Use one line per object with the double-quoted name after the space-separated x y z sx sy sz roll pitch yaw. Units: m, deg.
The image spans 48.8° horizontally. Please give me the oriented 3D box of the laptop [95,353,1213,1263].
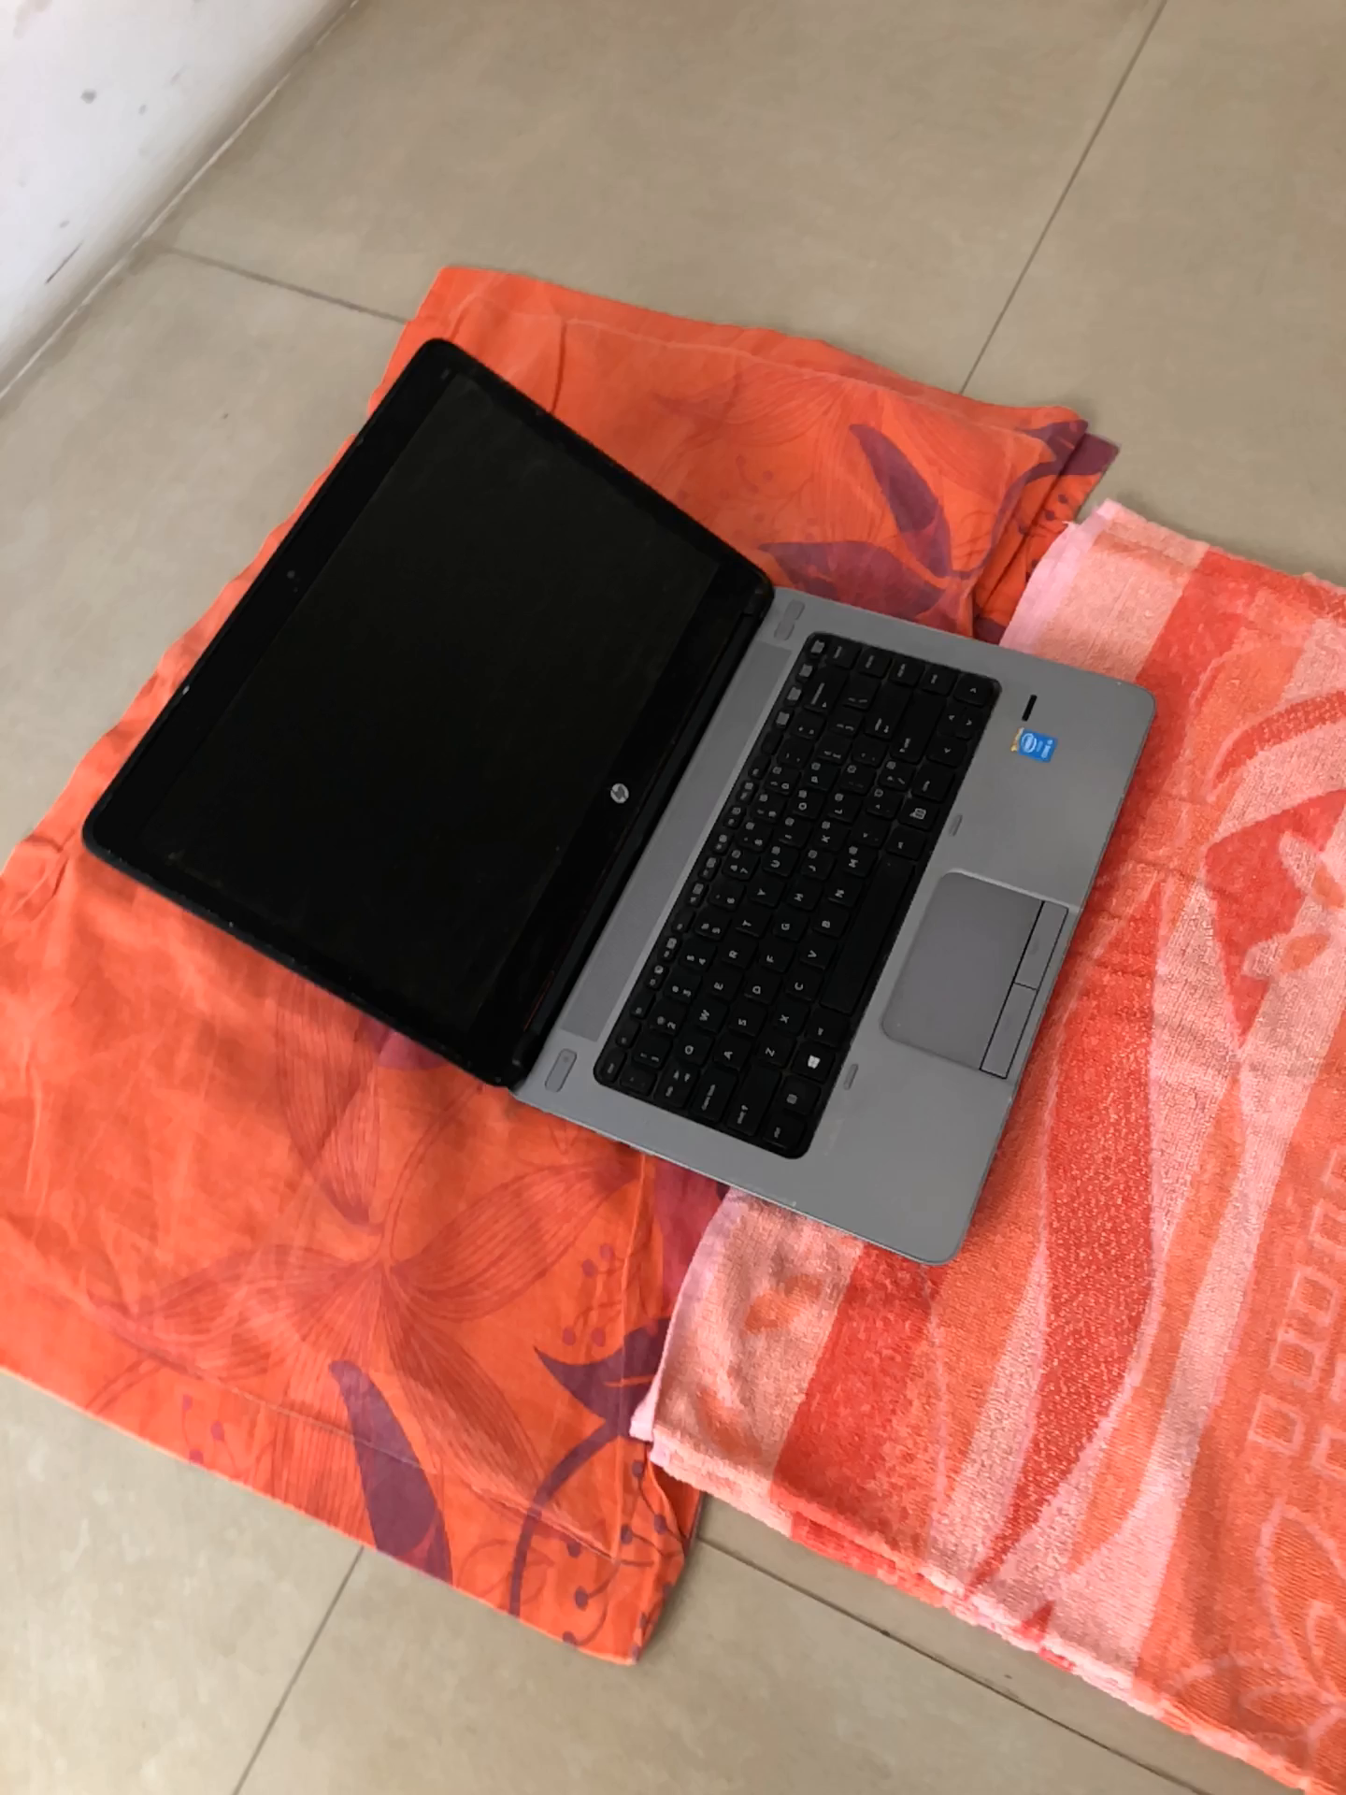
-0.001 -0.066 0.722 0.410 0.111 0.329 20 65 16 "laptop"
